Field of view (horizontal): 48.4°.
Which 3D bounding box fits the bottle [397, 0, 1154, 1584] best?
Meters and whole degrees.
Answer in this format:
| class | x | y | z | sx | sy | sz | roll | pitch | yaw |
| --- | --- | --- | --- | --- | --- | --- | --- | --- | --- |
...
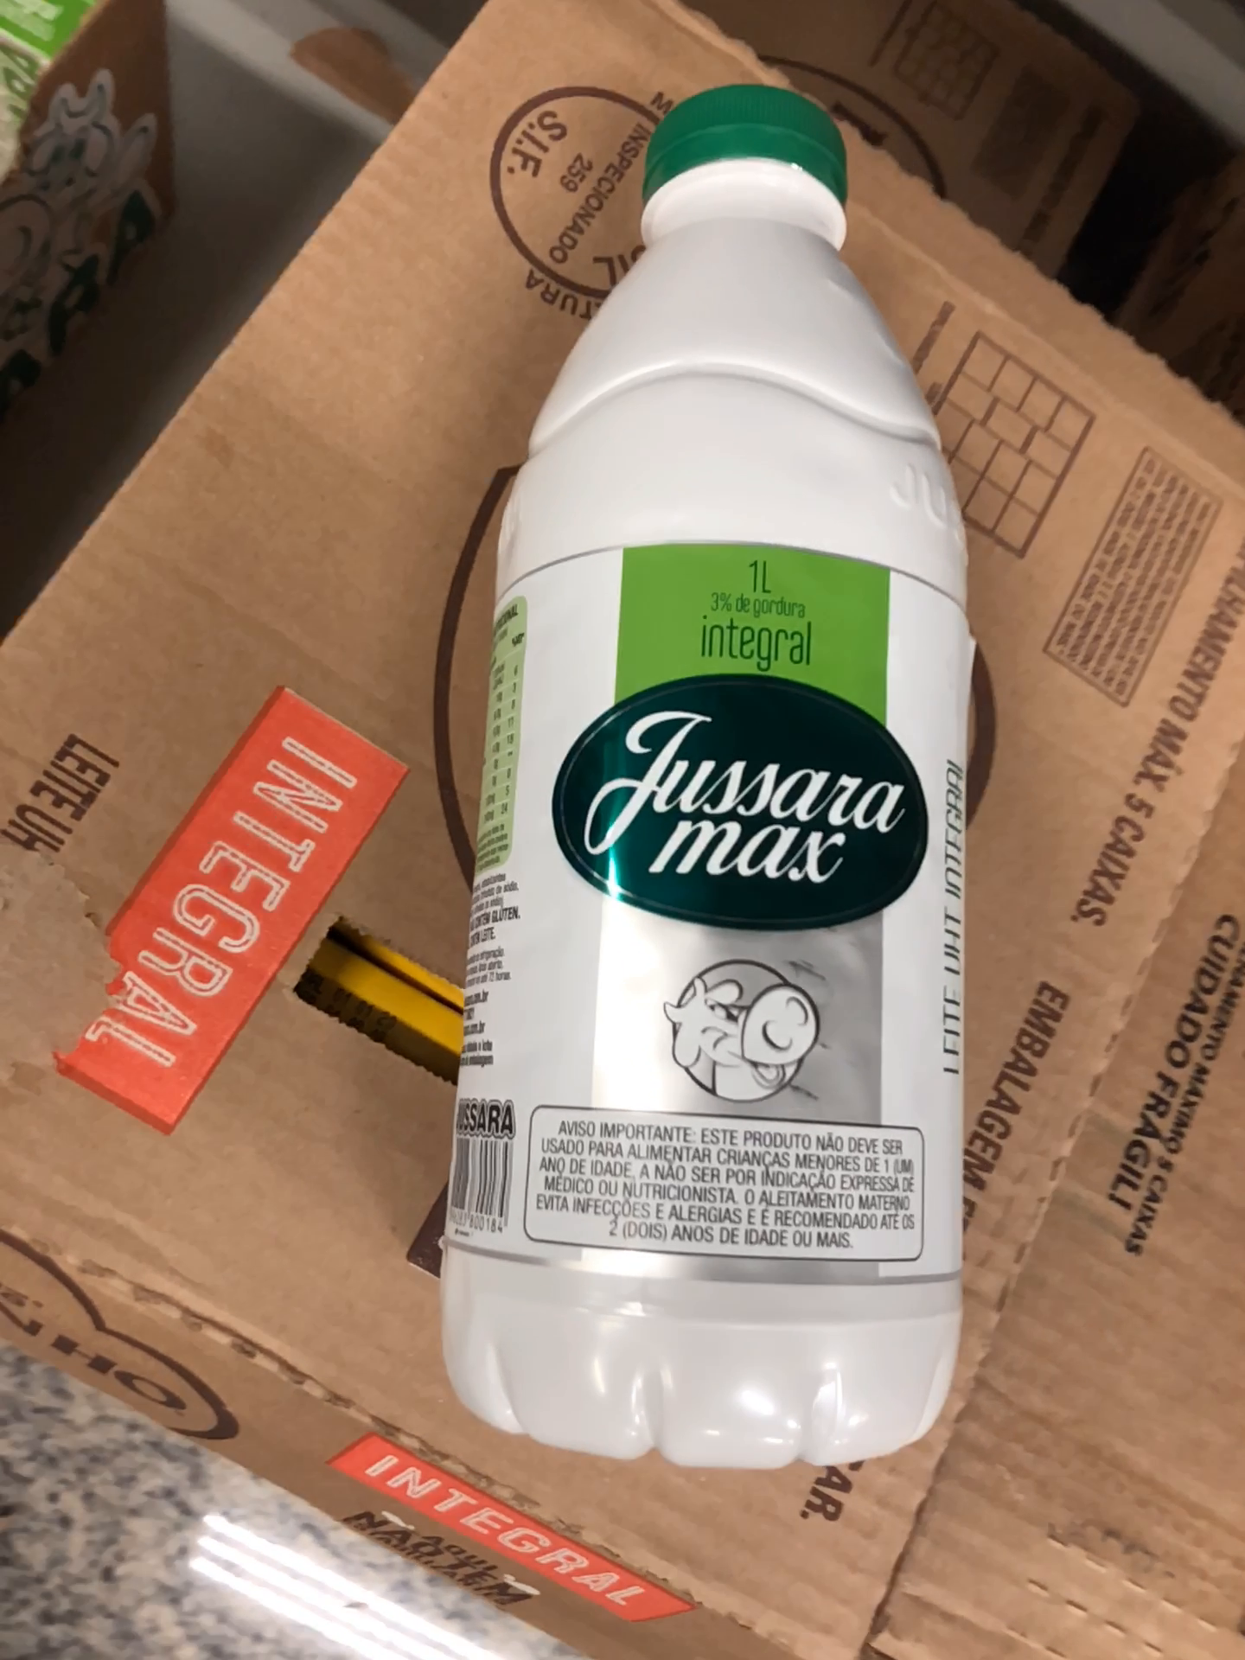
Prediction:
| class | x | y | z | sx | sy | sz | roll | pitch | yaw |
| --- | --- | --- | --- | --- | --- | --- | --- | --- | --- |
| bottle | 0.023 | -0.017 | 0.225 | 0.090 | 0.060 | 0.240 | 6 | 84 | -13 |
